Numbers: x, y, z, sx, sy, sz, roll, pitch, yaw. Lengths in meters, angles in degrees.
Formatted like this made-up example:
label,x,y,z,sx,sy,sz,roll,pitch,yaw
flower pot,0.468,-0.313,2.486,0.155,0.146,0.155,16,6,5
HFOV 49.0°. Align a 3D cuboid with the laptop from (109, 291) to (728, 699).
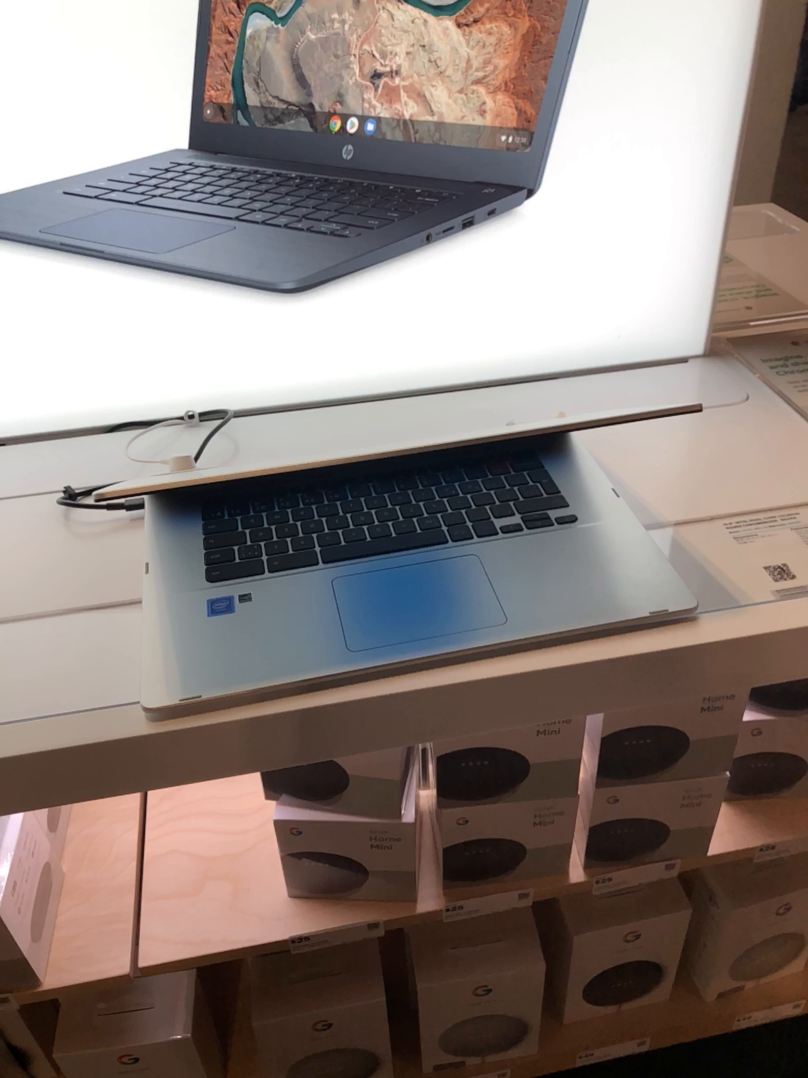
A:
label,x,y,z,sx,sy,sz,roll,pitch,yaw
laptop,-0.008,-0.045,0.597,0.340,0.113,0.223,-9,39,-6
